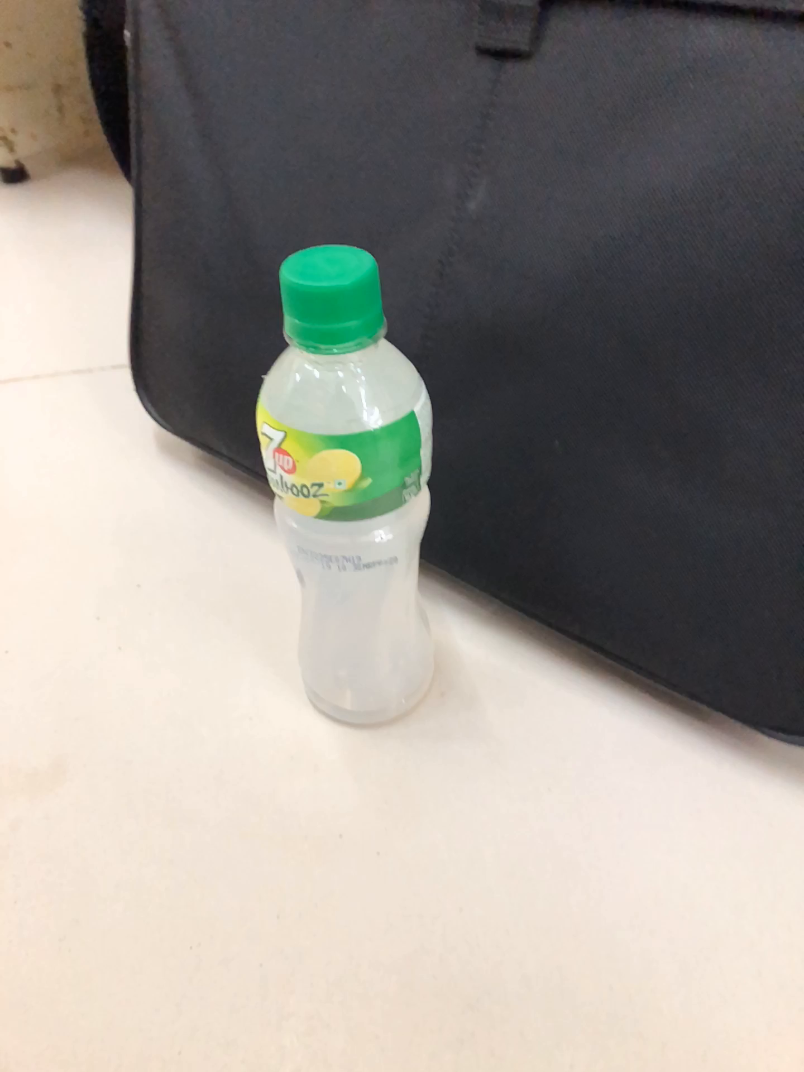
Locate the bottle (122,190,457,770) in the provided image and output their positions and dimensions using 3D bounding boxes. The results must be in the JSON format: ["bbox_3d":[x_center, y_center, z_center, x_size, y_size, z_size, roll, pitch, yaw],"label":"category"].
[{"bbox_3d":[-0.029,-0.013,0.324,0.070,0.189,0.070,-2,40,1],"label":"bottle"}]
